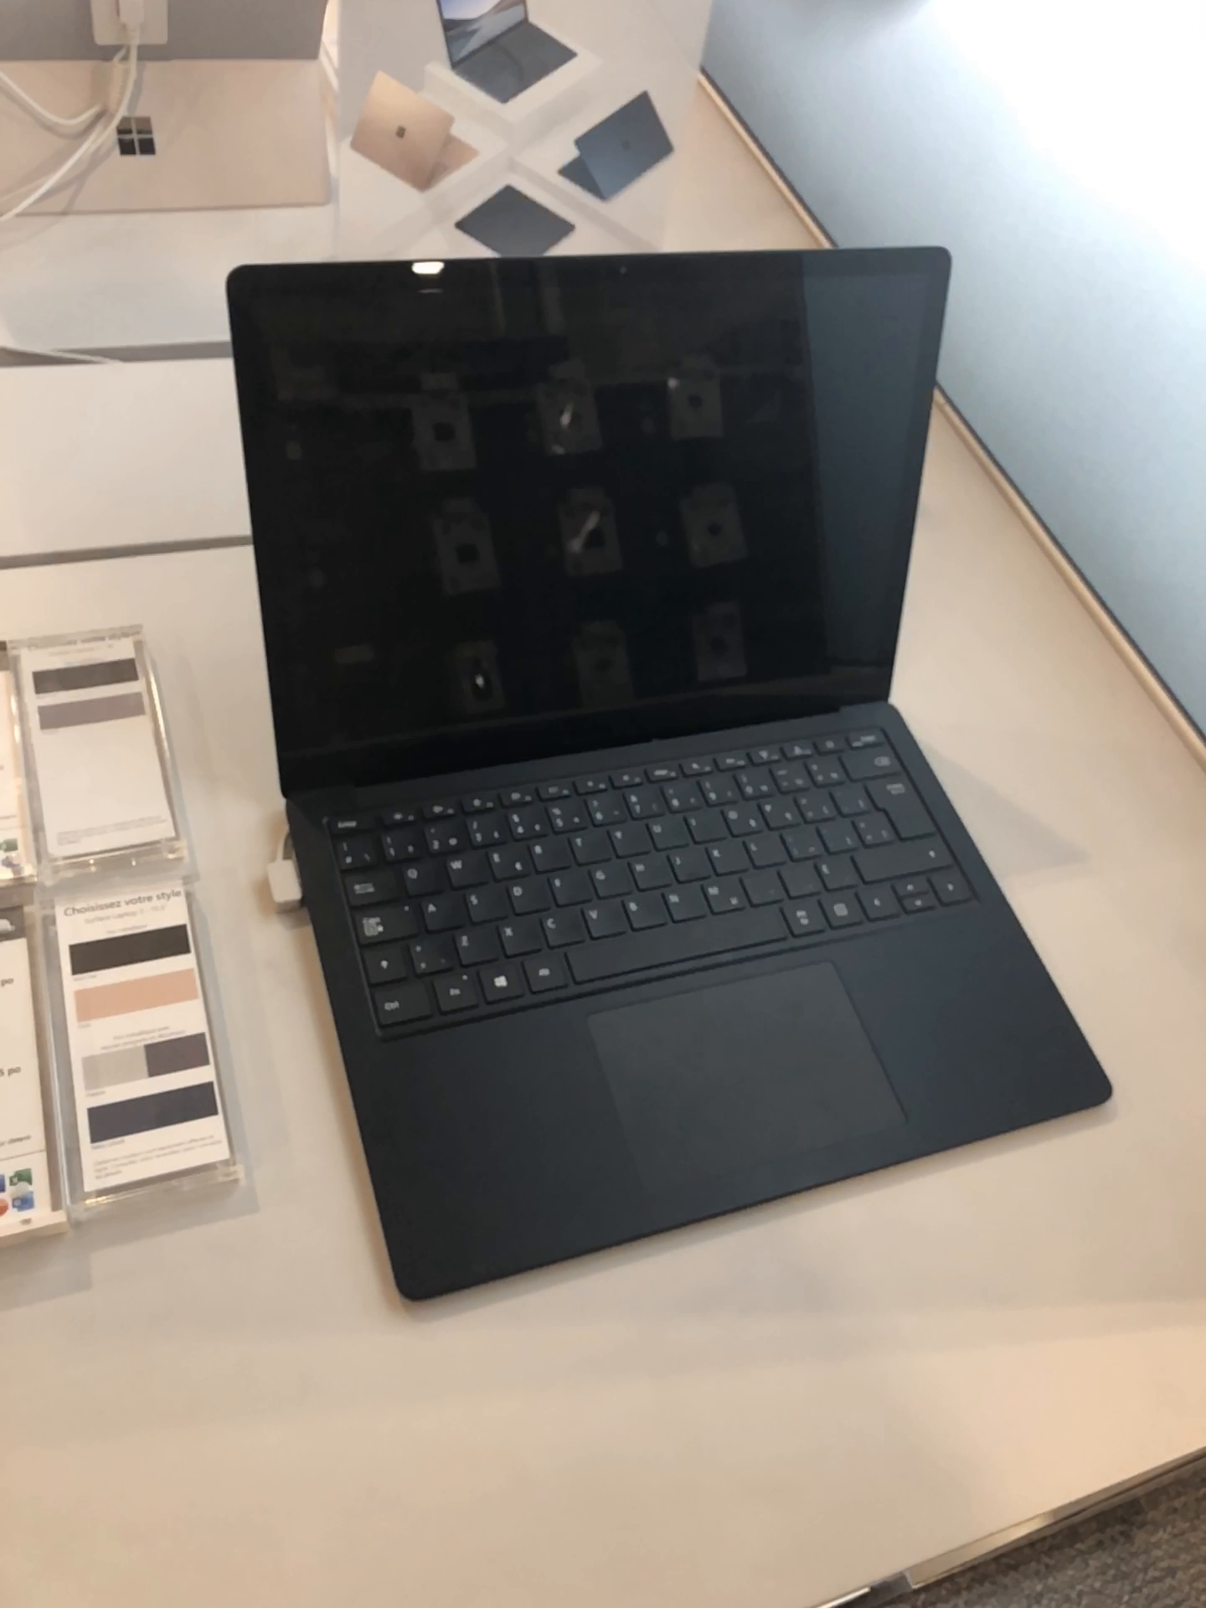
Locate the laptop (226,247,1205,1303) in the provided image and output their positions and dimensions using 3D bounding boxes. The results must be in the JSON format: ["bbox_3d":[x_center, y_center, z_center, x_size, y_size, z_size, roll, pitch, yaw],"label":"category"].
[{"bbox_3d":[0.041,-0.036,0.521,0.308,0.197,0.314,-10,55,-19],"label":"laptop"}]
